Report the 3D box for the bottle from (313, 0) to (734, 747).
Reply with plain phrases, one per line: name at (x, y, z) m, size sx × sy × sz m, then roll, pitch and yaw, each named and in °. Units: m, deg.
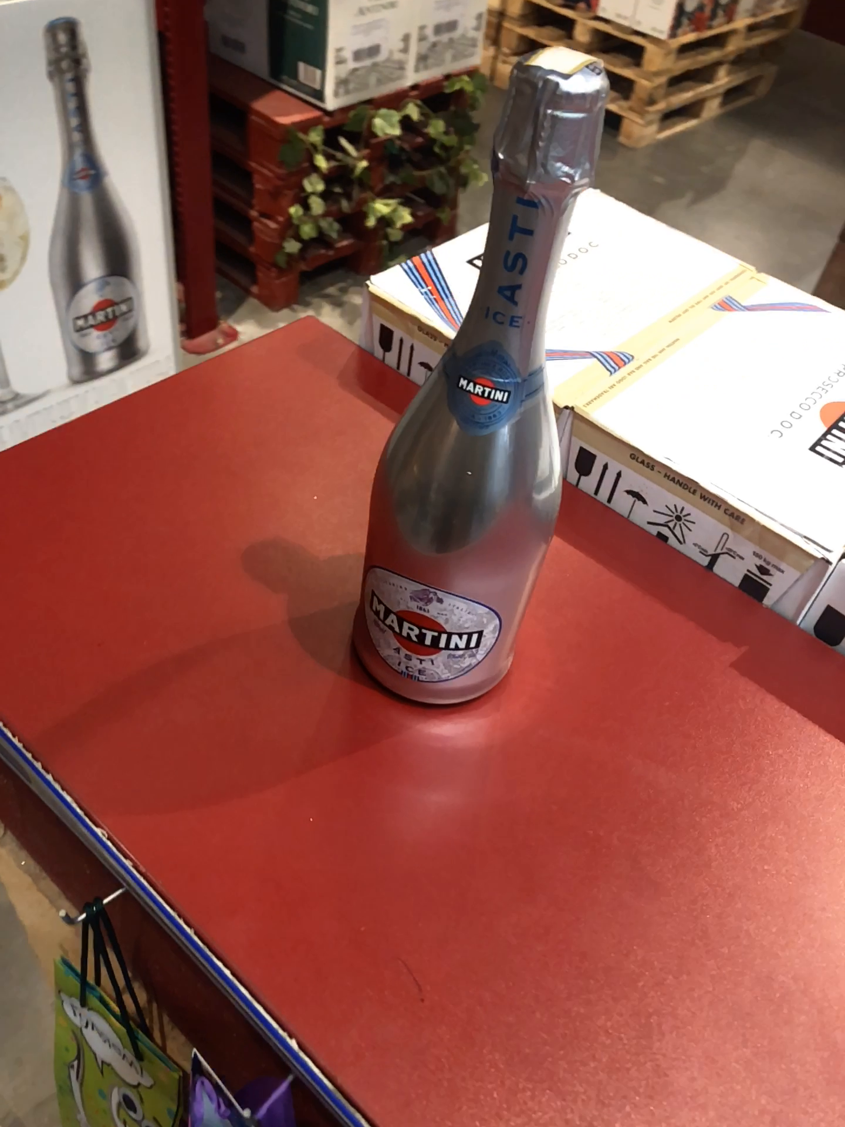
bottle at (0.025, -0.060, 0.400) m, size 0.100 × 0.298 × 0.101 m, roll 5°, pitch 46°, yaw -5°
